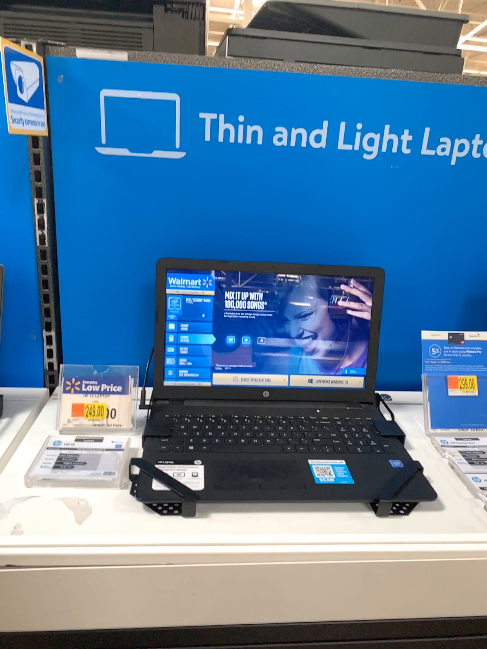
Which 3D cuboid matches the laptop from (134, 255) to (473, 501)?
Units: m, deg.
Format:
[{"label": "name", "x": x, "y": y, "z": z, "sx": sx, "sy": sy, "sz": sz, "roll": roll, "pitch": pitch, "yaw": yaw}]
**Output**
[{"label": "laptop", "x": 0.049, "y": 0.054, "z": 0.694, "sx": 0.363, "sy": 0.225, "sz": 0.287, "roll": 2, "pitch": 19, "yaw": -6}]
